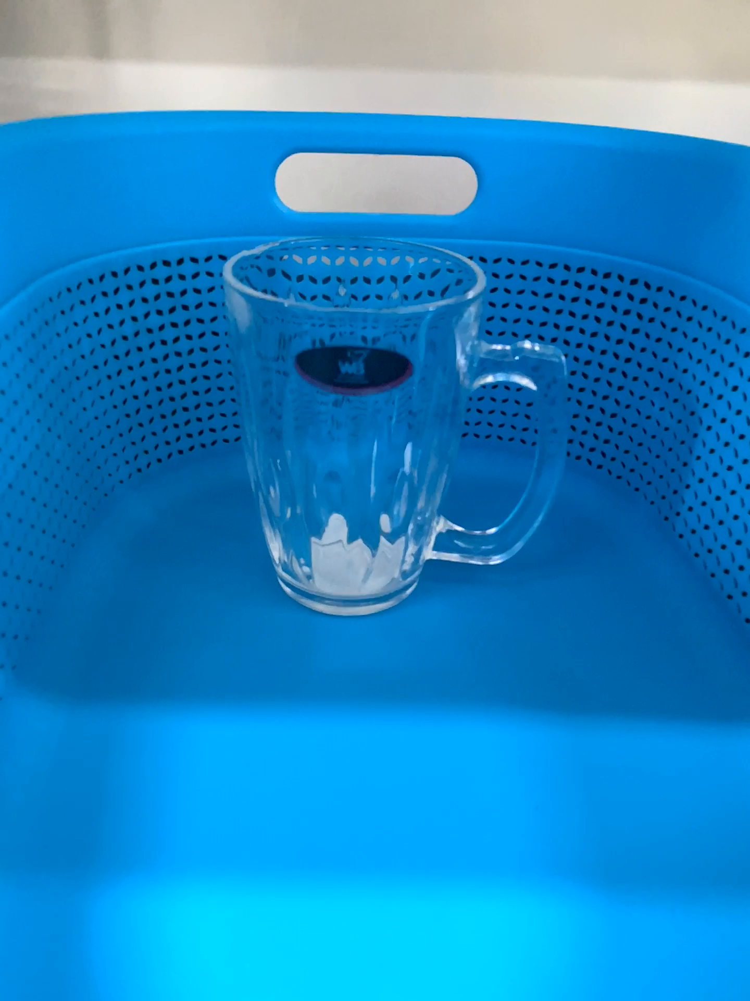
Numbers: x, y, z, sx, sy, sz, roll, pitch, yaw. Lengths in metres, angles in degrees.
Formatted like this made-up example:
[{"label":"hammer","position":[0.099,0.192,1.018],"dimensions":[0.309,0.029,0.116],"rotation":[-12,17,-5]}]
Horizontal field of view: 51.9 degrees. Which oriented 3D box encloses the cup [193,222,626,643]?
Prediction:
[{"label":"cup","position":[0.009,-0.025,0.258],"dimensions":[0.110,0.109,0.081],"rotation":[4,32,2]}]
